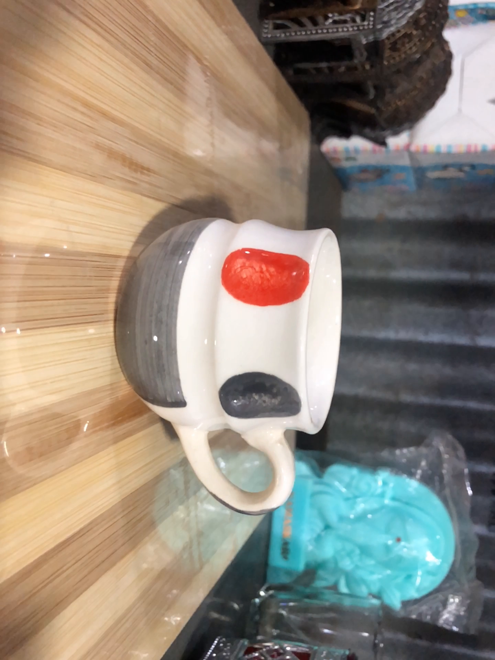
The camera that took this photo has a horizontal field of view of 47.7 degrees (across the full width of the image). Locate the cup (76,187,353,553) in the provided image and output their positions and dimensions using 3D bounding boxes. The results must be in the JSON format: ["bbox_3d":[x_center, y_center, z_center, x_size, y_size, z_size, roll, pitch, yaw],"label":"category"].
[{"bbox_3d":[-0.003,0.005,0.170,0.060,0.060,0.090,-47,138,-66],"label":"cup"}]
